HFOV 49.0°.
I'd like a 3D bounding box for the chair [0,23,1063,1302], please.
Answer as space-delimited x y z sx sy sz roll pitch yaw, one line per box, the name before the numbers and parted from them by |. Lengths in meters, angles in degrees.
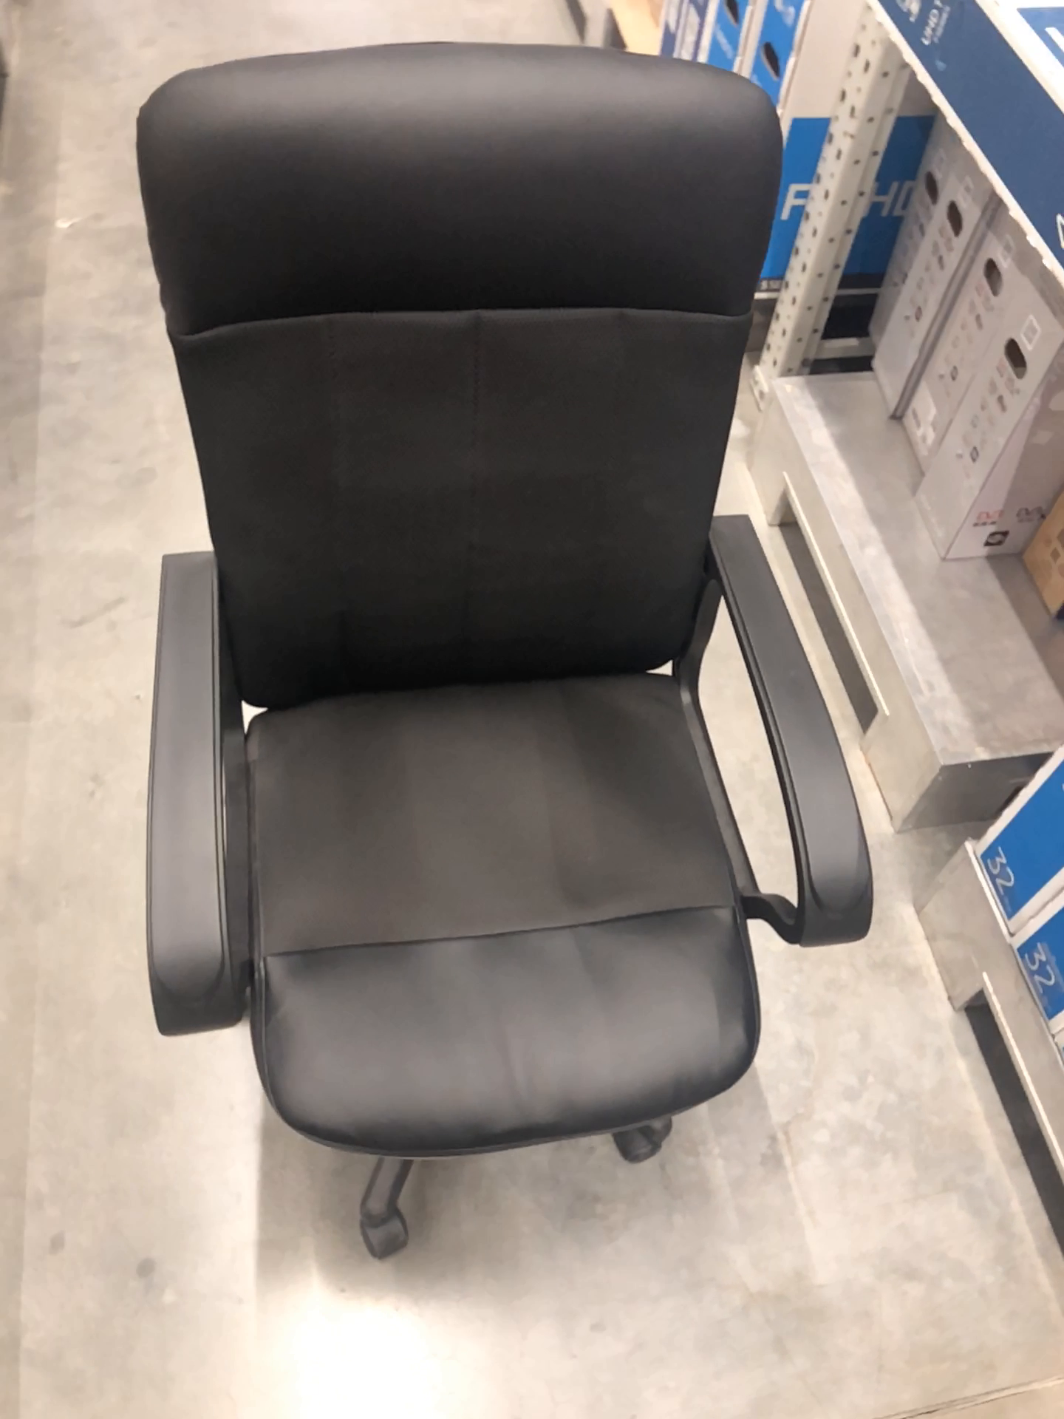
chair | -0.041 0.084 1.131 0.650 1.124 0.633 -6 57 -10
